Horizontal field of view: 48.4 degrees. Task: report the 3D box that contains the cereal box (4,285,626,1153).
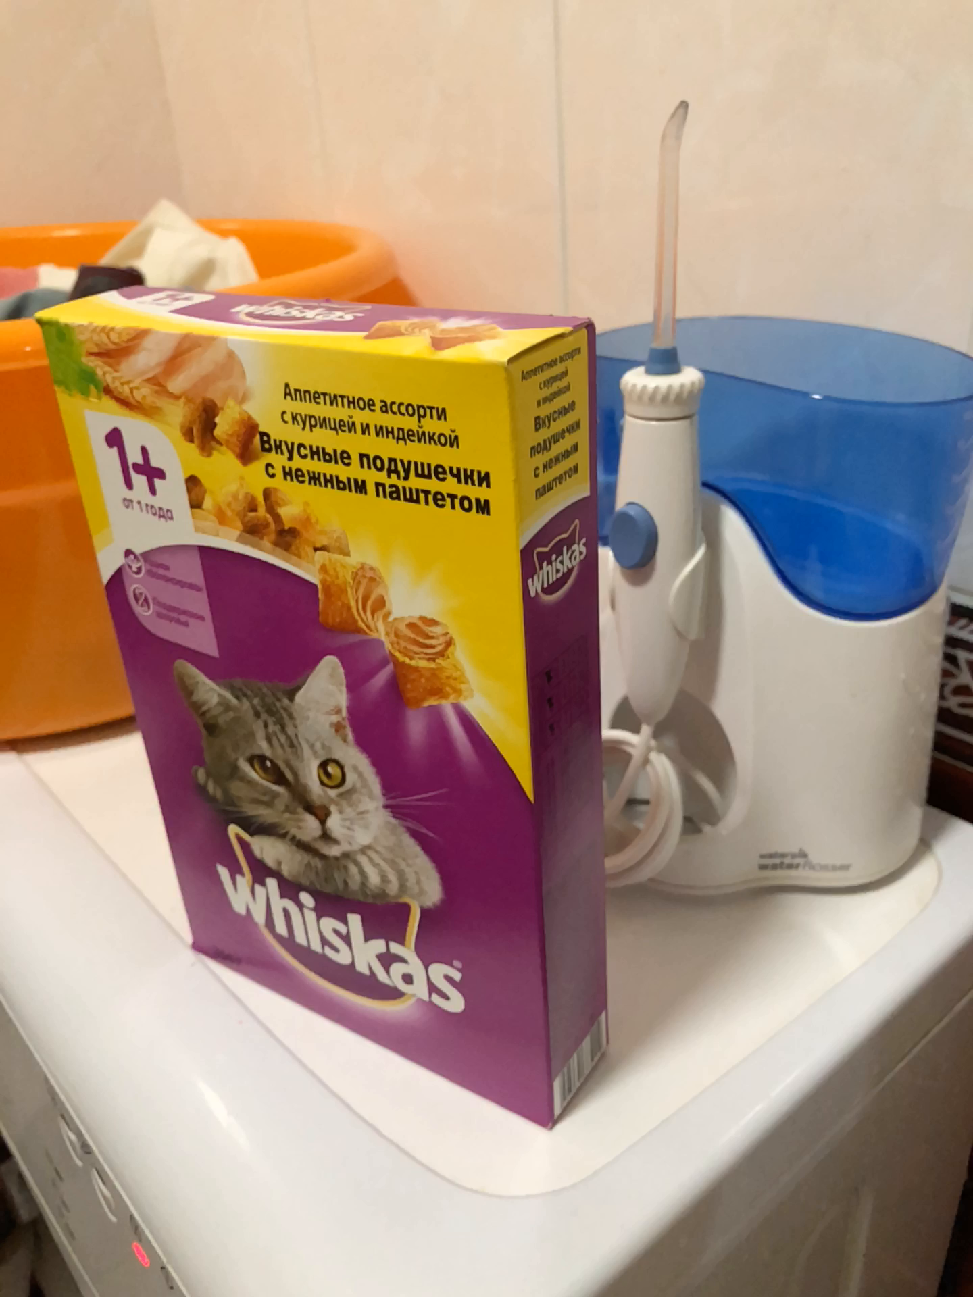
[{"bbox_3d":[-0.040,0.019,0.300,0.150,0.219,0.040,13,33,31],"label":"cereal box"}]
